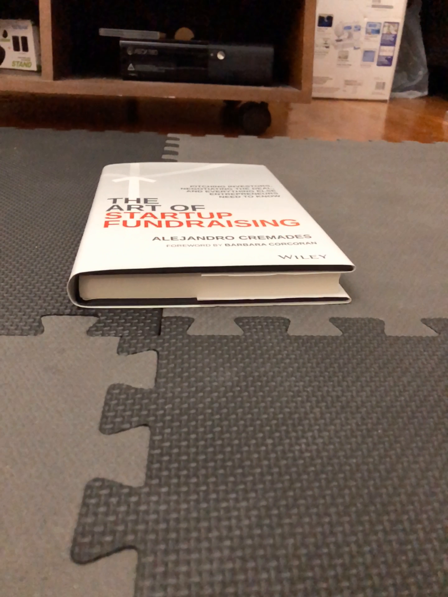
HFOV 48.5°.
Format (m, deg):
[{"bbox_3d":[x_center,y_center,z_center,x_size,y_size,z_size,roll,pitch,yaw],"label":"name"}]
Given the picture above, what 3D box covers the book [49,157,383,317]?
[{"bbox_3d":[-0.016,-0.063,0.369,0.170,0.030,0.251,-1,27,-7],"label":"book"}]
